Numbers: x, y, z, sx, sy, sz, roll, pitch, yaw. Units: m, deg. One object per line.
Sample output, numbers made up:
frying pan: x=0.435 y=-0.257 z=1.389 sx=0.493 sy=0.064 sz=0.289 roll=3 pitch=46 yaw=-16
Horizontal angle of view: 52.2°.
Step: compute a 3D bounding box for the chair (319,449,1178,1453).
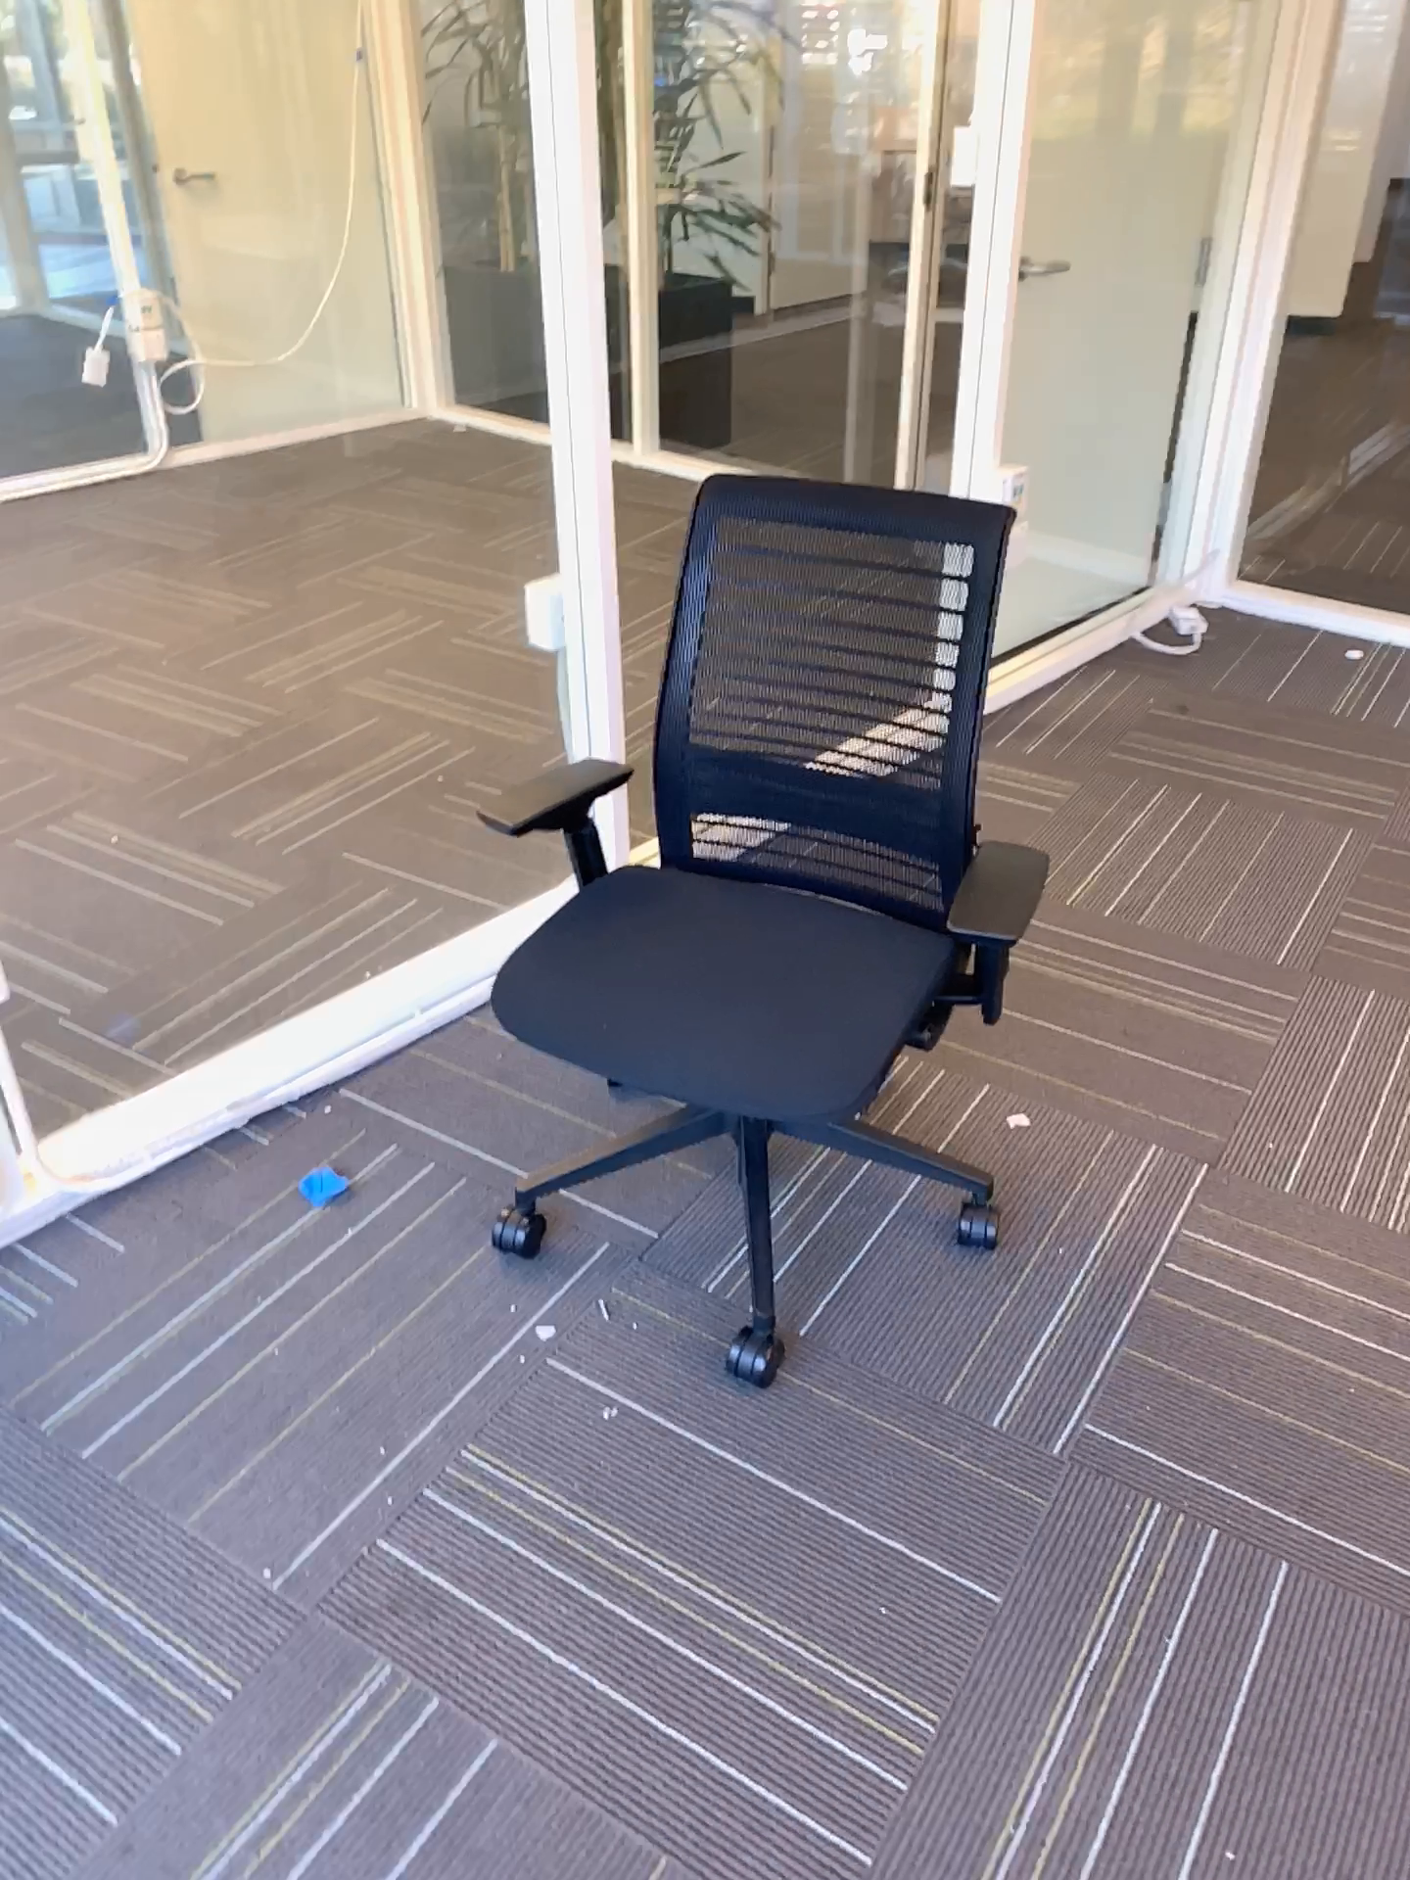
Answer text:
chair: x=0.085 y=-0.048 z=1.799 sx=0.692 sy=0.875 sz=0.713 roll=16 pitch=35 yaw=24
